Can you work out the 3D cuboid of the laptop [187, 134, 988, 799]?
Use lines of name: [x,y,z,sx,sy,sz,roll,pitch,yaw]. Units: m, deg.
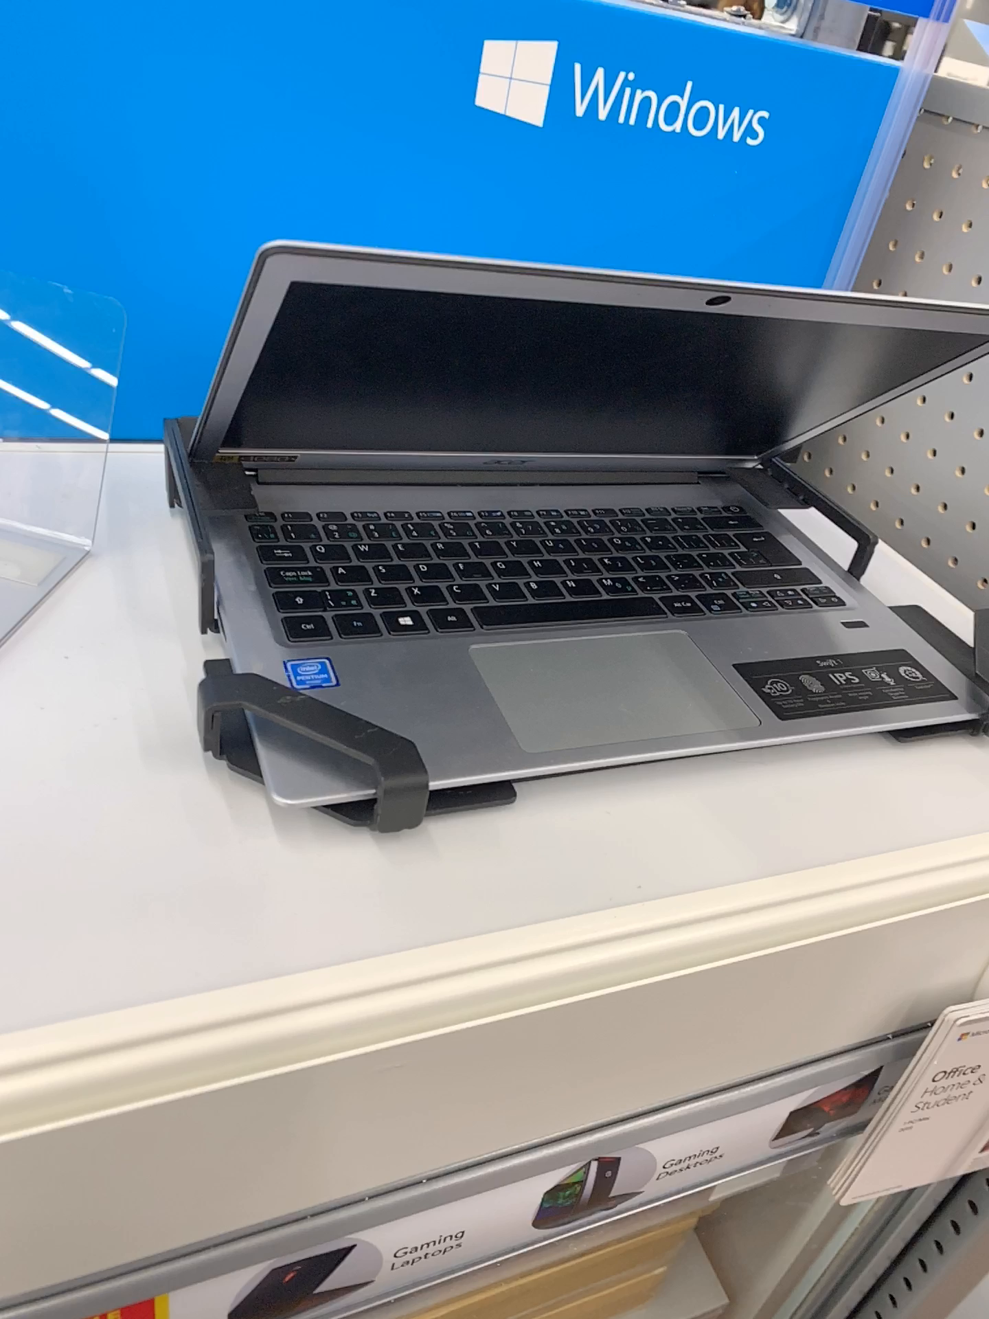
laptop: [0.051,-0.088,0.405,0.306,0.141,0.213,-4,38,-23]
